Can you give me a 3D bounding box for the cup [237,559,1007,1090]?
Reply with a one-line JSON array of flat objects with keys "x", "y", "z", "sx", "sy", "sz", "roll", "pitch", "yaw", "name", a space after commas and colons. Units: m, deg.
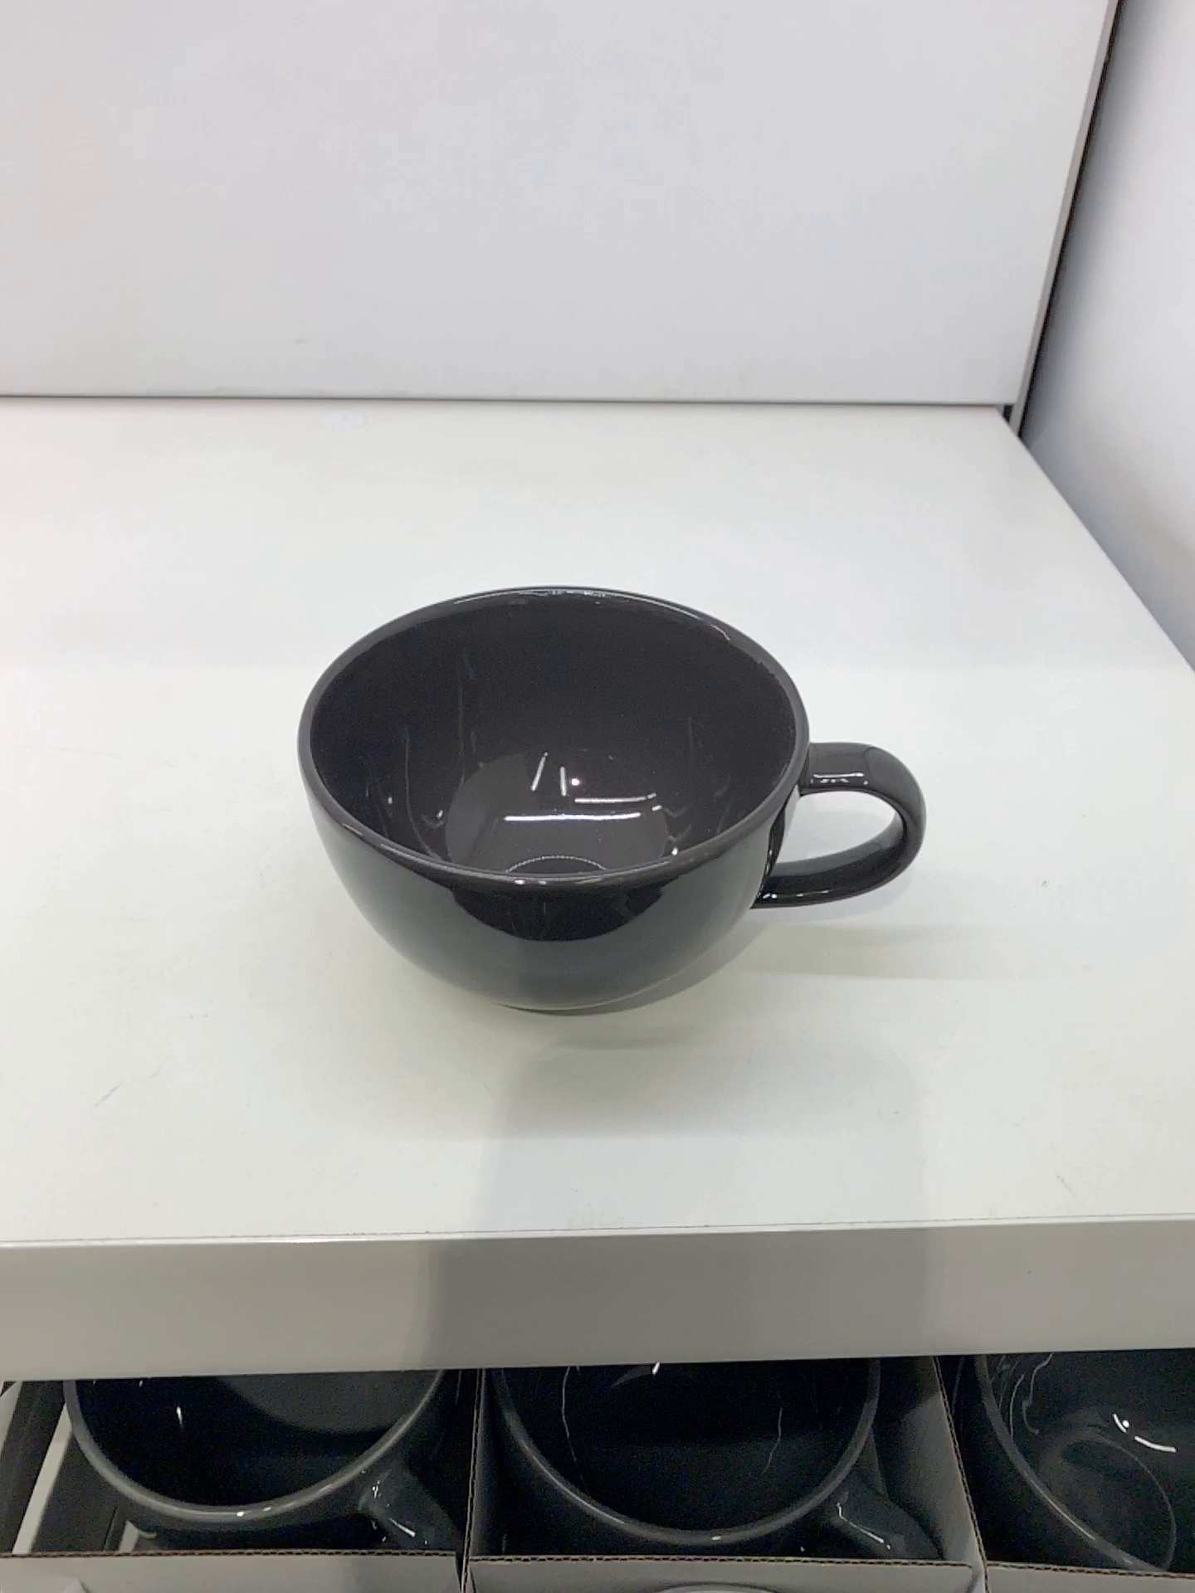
[{"x": 0.006, "y": -0.001, "z": 0.267, "sx": 0.130, "sy": 0.050, "sz": 0.111, "roll": 3, "pitch": 37, "yaw": 2, "name": "cup"}]
